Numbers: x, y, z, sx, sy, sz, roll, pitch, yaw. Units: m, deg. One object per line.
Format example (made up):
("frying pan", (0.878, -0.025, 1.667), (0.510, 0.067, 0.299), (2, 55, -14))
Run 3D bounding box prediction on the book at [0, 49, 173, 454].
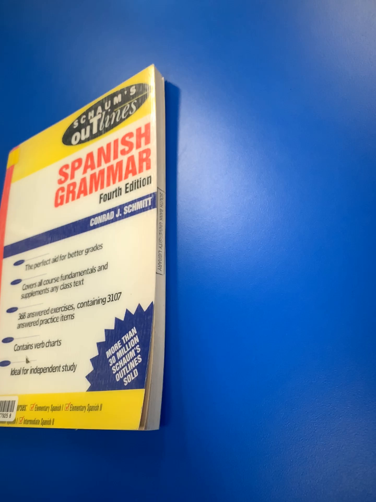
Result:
("book", (-0.110, 0.002, 0.322), (0.211, 0.040, 0.281), (-15, 64, 31))
